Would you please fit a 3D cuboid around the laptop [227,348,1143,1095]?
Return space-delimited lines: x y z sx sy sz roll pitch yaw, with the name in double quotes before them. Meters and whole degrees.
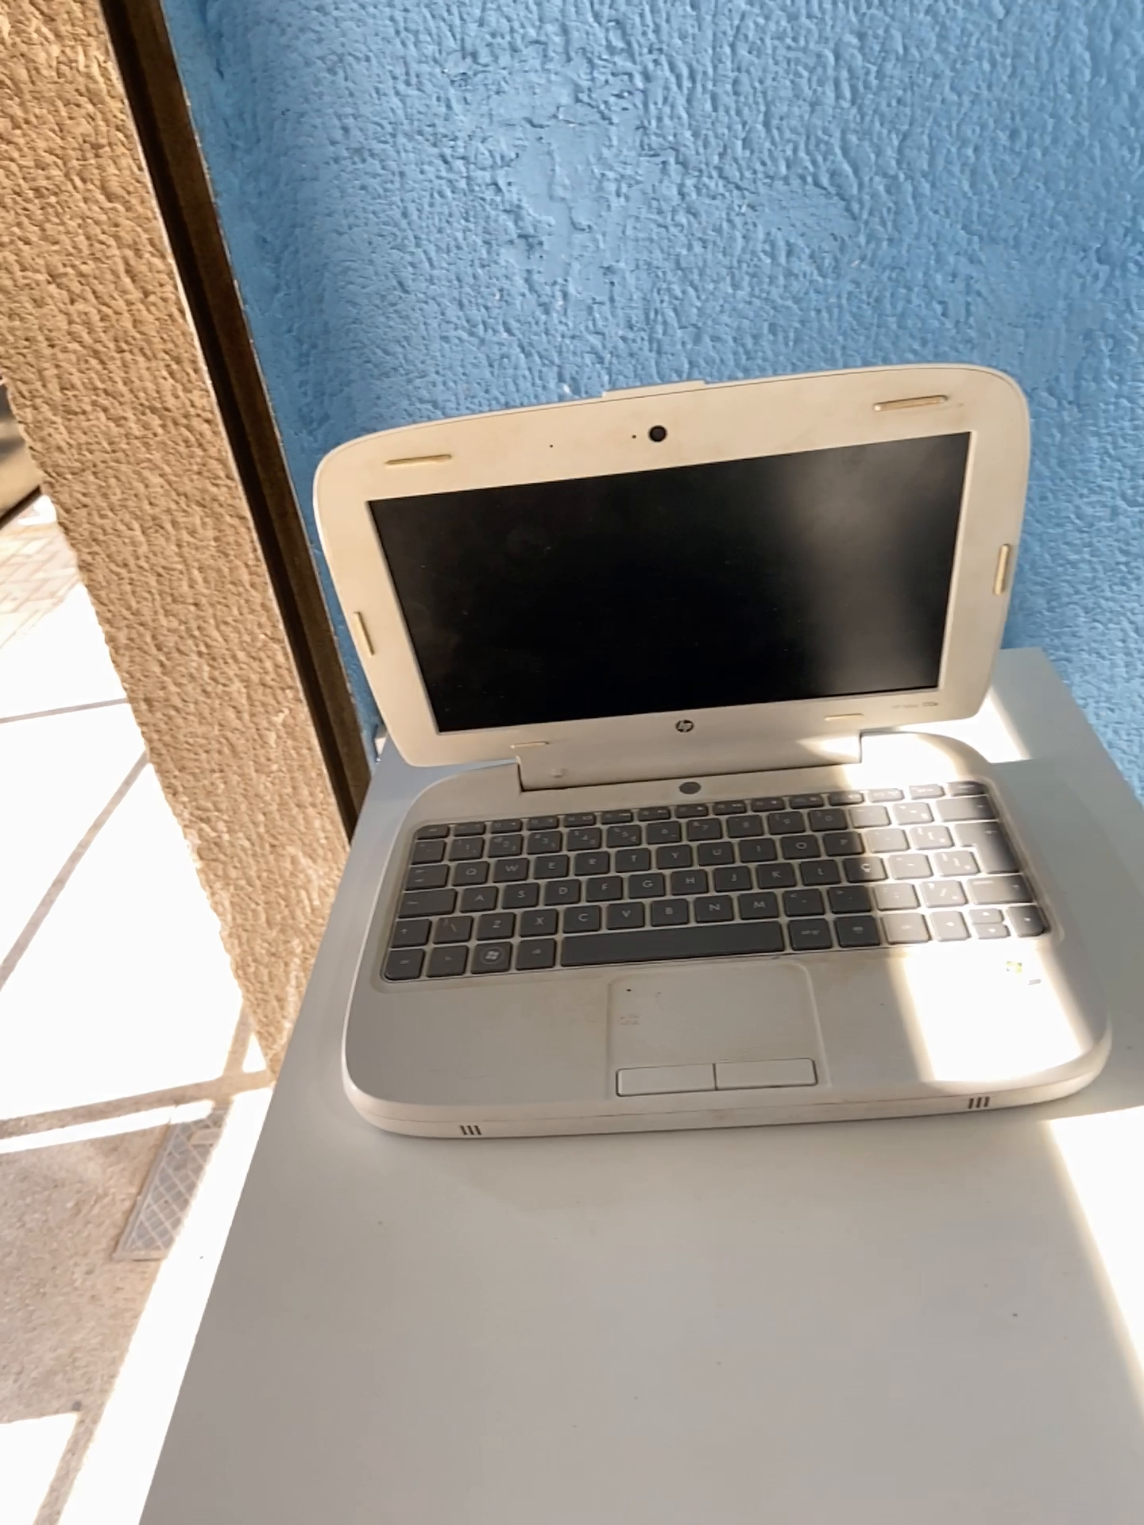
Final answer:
"laptop" 0.039 -0.019 0.425 0.247 0.172 0.178 -6 33 6
